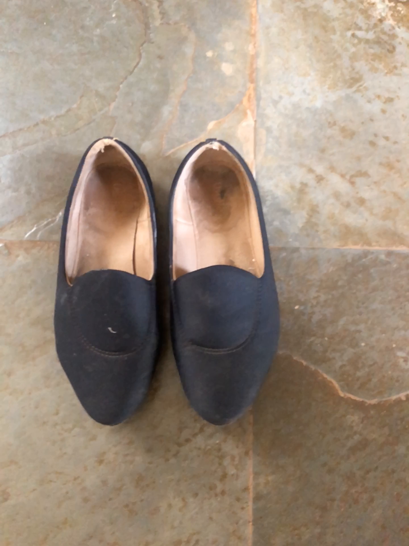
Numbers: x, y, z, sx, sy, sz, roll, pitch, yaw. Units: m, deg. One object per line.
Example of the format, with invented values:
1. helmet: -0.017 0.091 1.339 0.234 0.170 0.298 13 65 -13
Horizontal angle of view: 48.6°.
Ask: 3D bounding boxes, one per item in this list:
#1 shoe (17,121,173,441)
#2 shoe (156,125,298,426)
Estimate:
1. shoe: -0.095 0.004 0.416 0.110 0.080 0.271 -4 73 -1
2. shoe: 0.018 0.001 0.430 0.110 0.080 0.271 0 73 1
